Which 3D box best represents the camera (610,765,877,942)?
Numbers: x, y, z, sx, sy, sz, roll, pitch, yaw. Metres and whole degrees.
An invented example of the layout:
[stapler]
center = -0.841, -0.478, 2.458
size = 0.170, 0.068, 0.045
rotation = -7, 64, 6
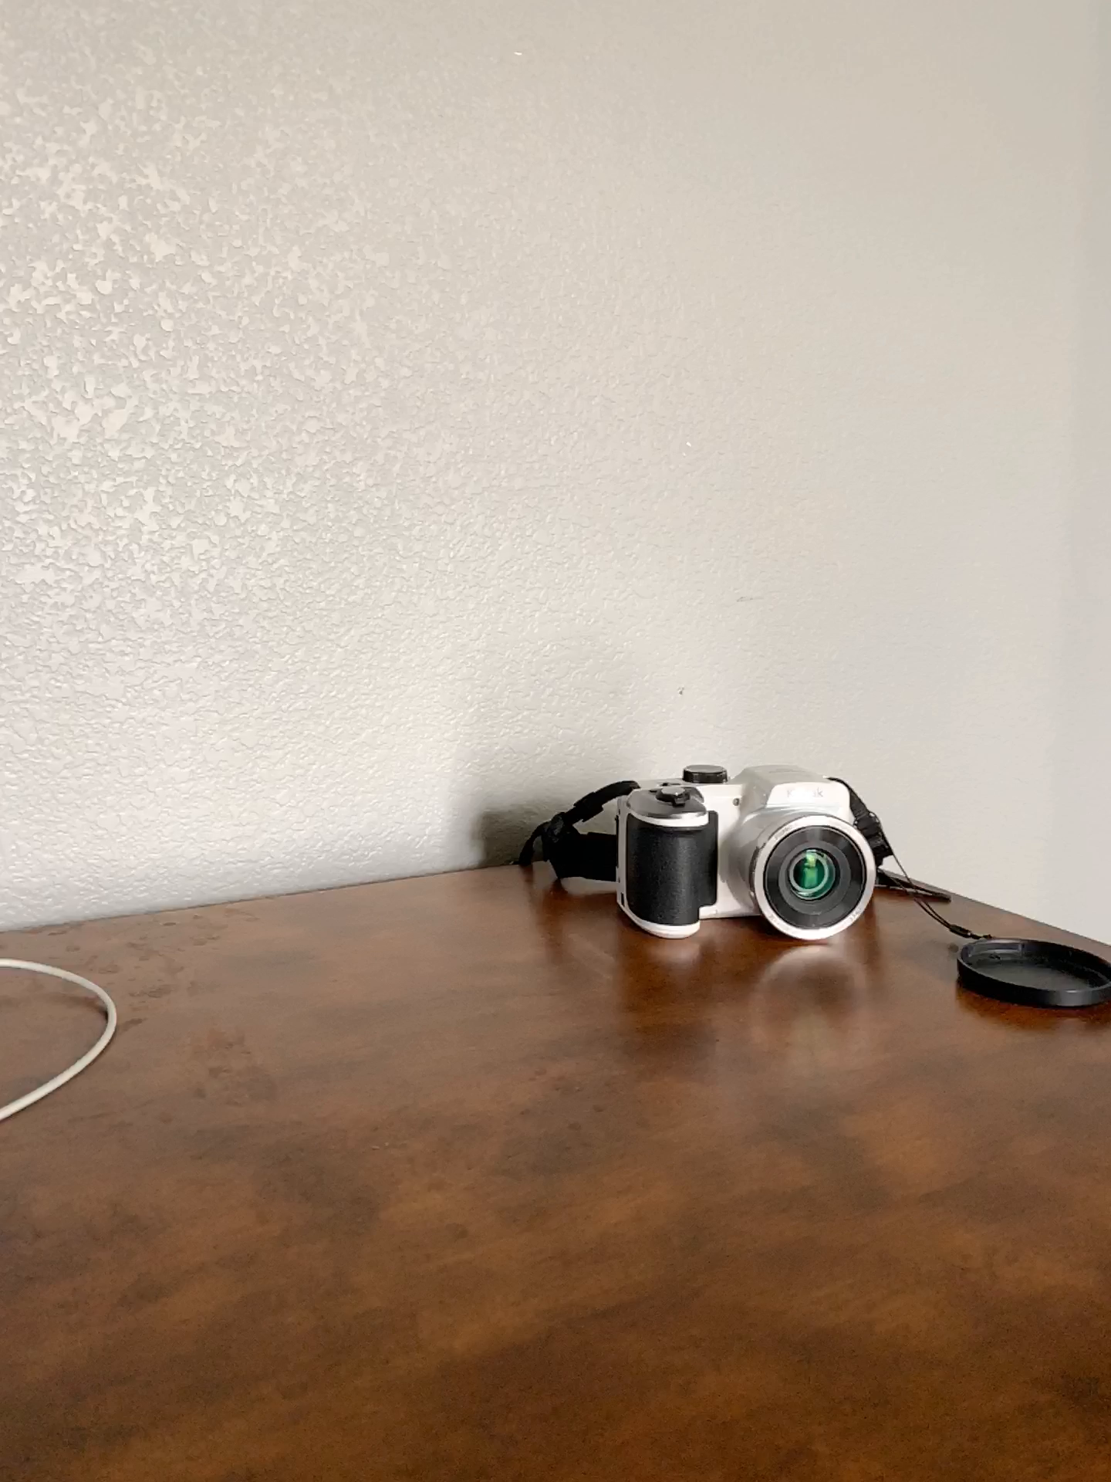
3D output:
[camera]
center = 0.089, 0.053, 0.567
size = 0.119, 0.071, 0.070
rotation = 0, 7, -2
